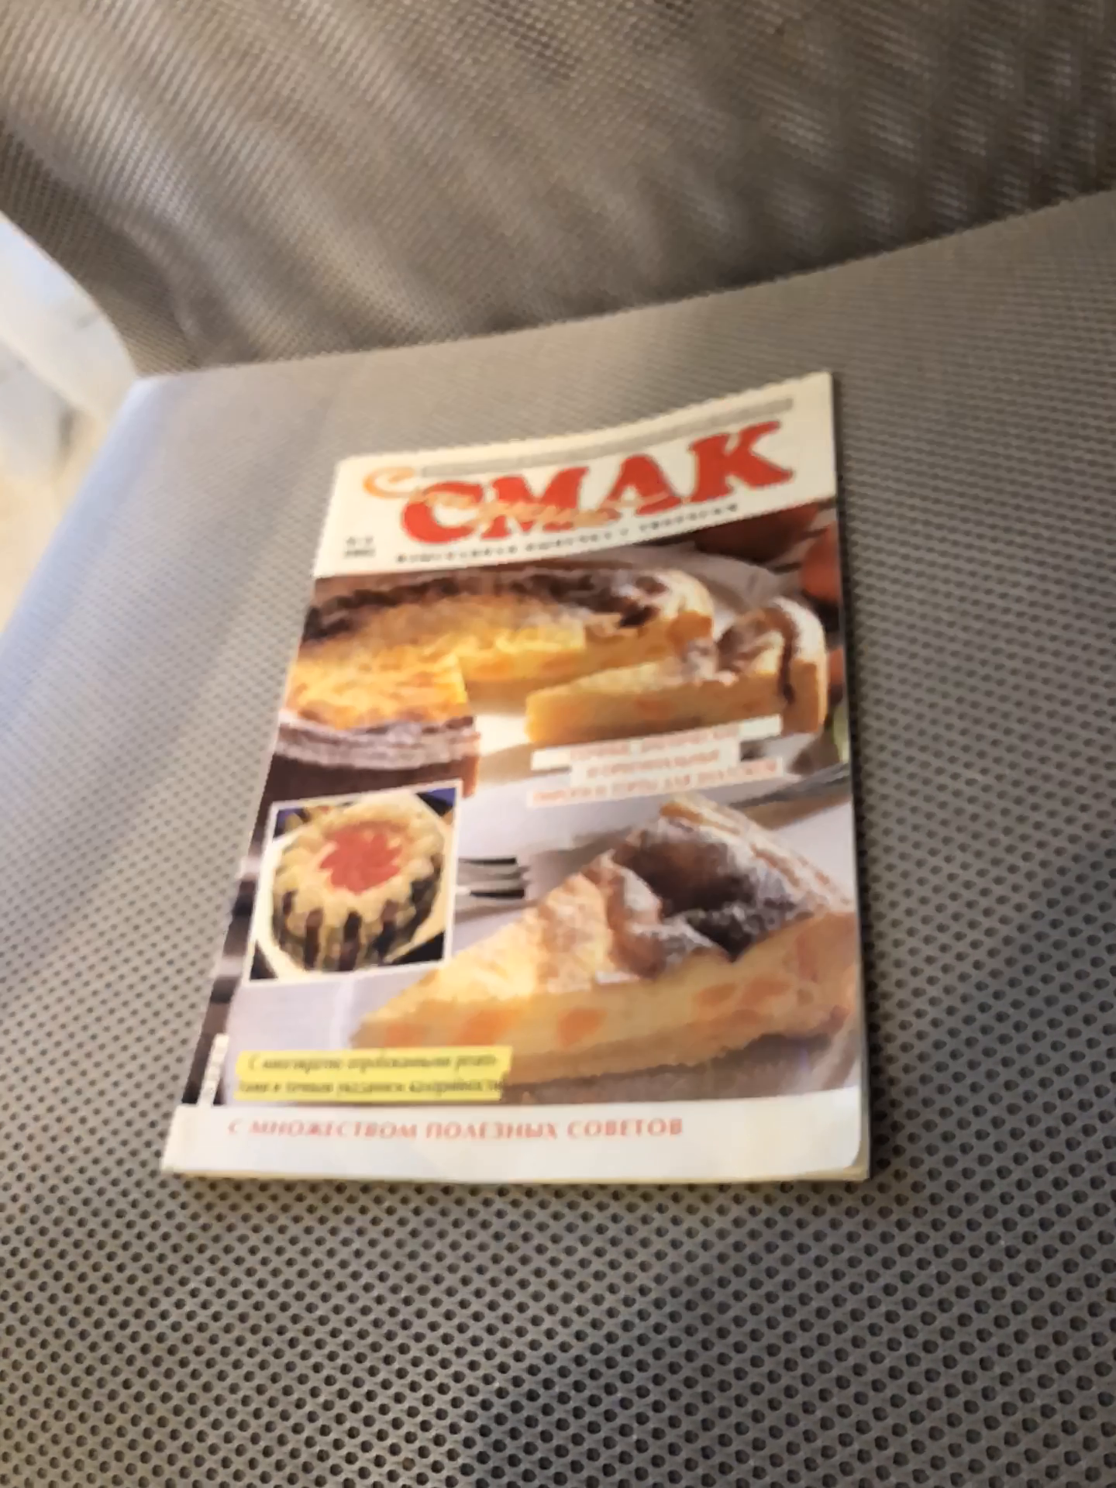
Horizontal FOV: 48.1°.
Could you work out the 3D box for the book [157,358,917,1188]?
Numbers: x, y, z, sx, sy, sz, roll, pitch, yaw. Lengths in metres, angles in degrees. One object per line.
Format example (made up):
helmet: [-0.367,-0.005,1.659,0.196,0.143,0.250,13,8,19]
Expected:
book: [-0.003,-0.002,0.334,0.174,0.010,0.232,-7,56,18]
